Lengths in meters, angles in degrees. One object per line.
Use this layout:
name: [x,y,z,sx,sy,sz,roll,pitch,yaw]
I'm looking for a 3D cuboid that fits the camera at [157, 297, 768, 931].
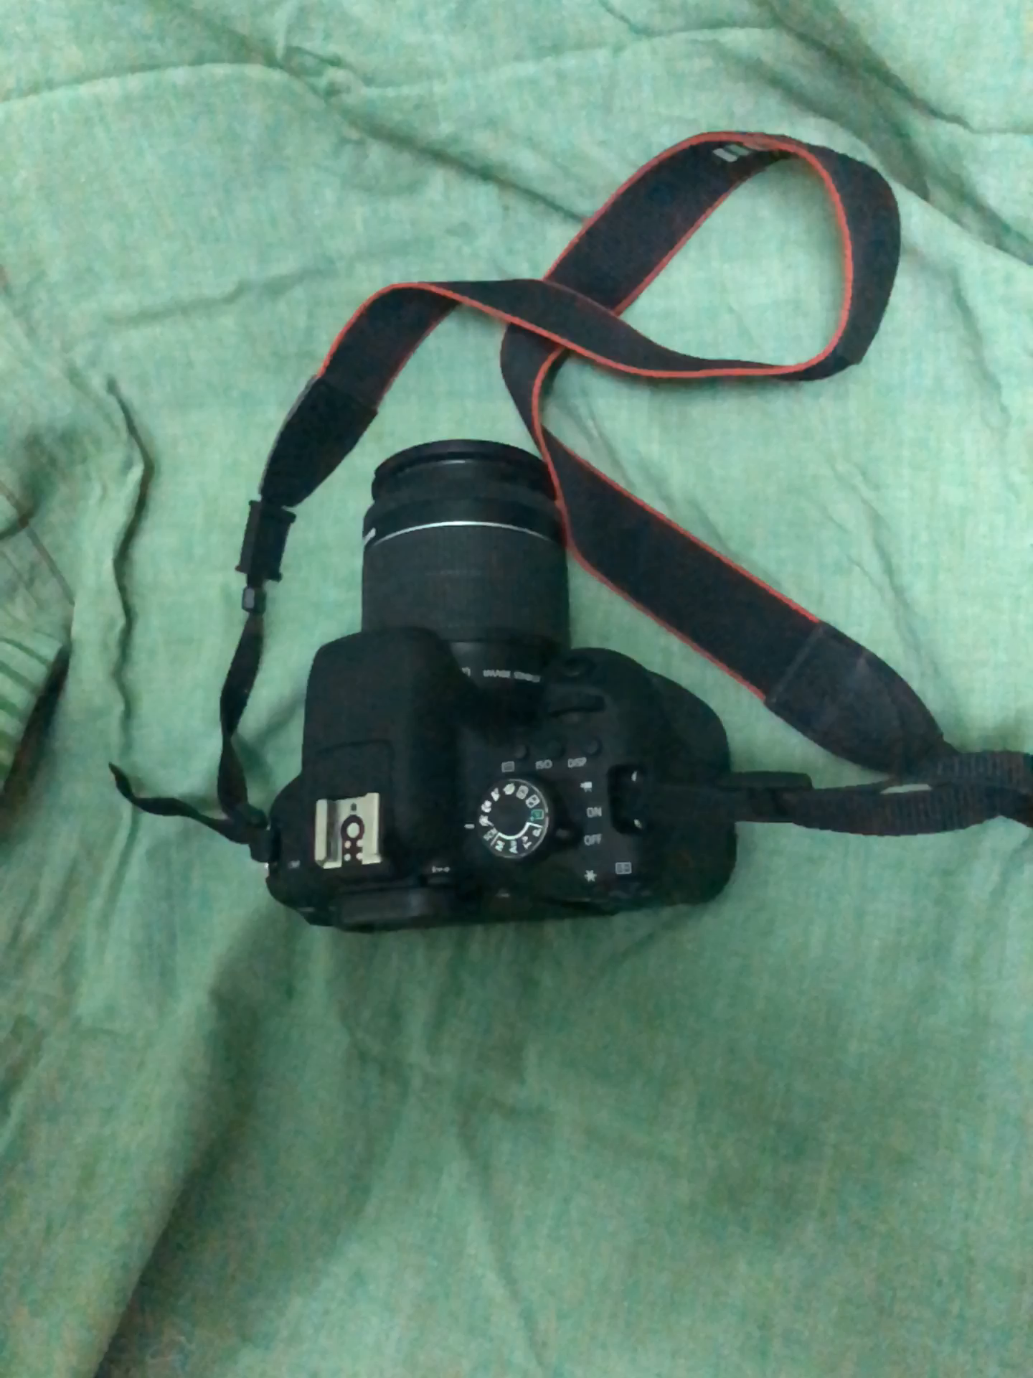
camera: [-0.015,-0.007,0.339,0.142,0.100,0.144,-10,74,22]
